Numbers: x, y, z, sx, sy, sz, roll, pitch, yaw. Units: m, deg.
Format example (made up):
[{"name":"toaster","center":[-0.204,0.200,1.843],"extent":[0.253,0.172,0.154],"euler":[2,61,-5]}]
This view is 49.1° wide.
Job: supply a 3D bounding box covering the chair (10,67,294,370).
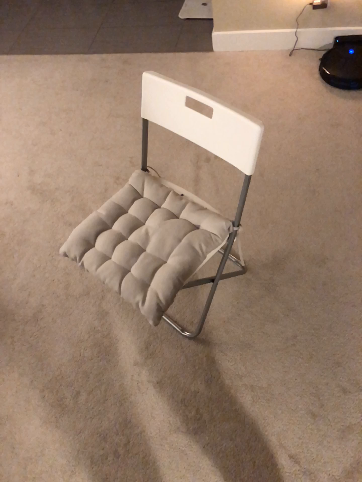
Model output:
[{"name":"chair","center":[-0.033,-0.046,1.292],"extent":[0.511,0.667,0.541],"euler":[33,68,27]}]
